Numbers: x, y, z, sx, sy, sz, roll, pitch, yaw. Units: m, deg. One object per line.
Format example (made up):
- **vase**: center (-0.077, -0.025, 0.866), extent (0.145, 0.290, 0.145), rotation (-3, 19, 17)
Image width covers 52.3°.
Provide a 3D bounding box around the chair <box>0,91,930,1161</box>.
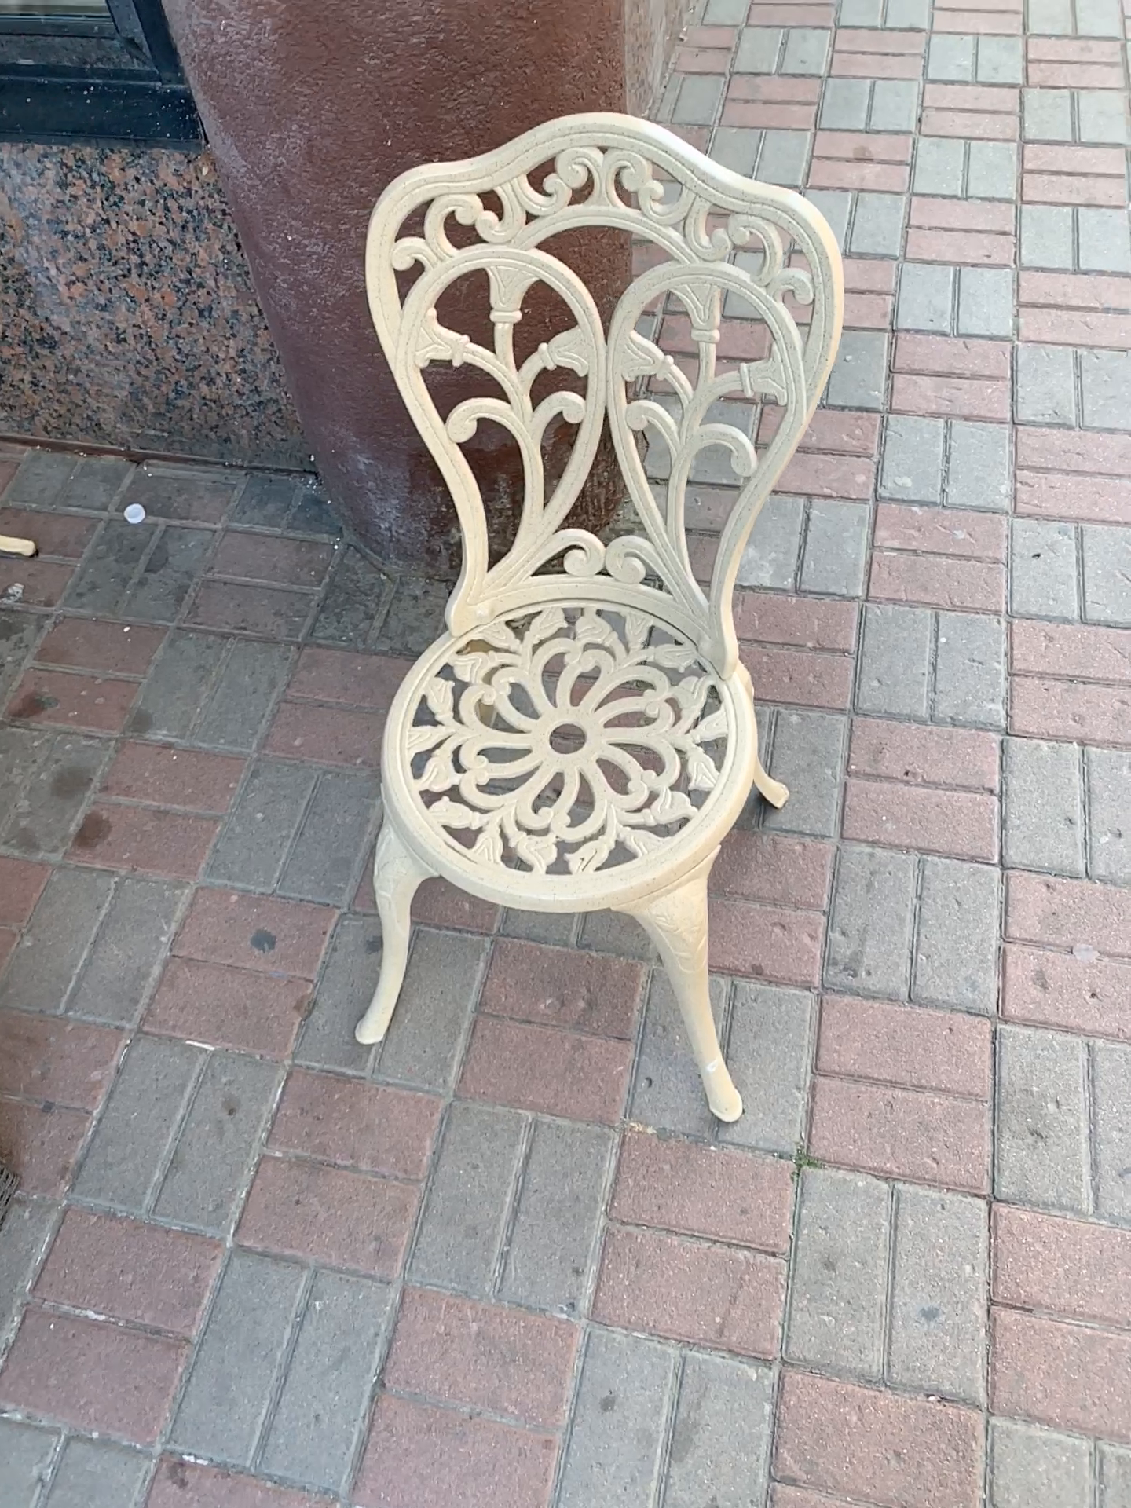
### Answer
- **chair**: center (-0.003, -0.053, 1.076), extent (0.480, 0.798, 0.551), rotation (9, 58, 11)
